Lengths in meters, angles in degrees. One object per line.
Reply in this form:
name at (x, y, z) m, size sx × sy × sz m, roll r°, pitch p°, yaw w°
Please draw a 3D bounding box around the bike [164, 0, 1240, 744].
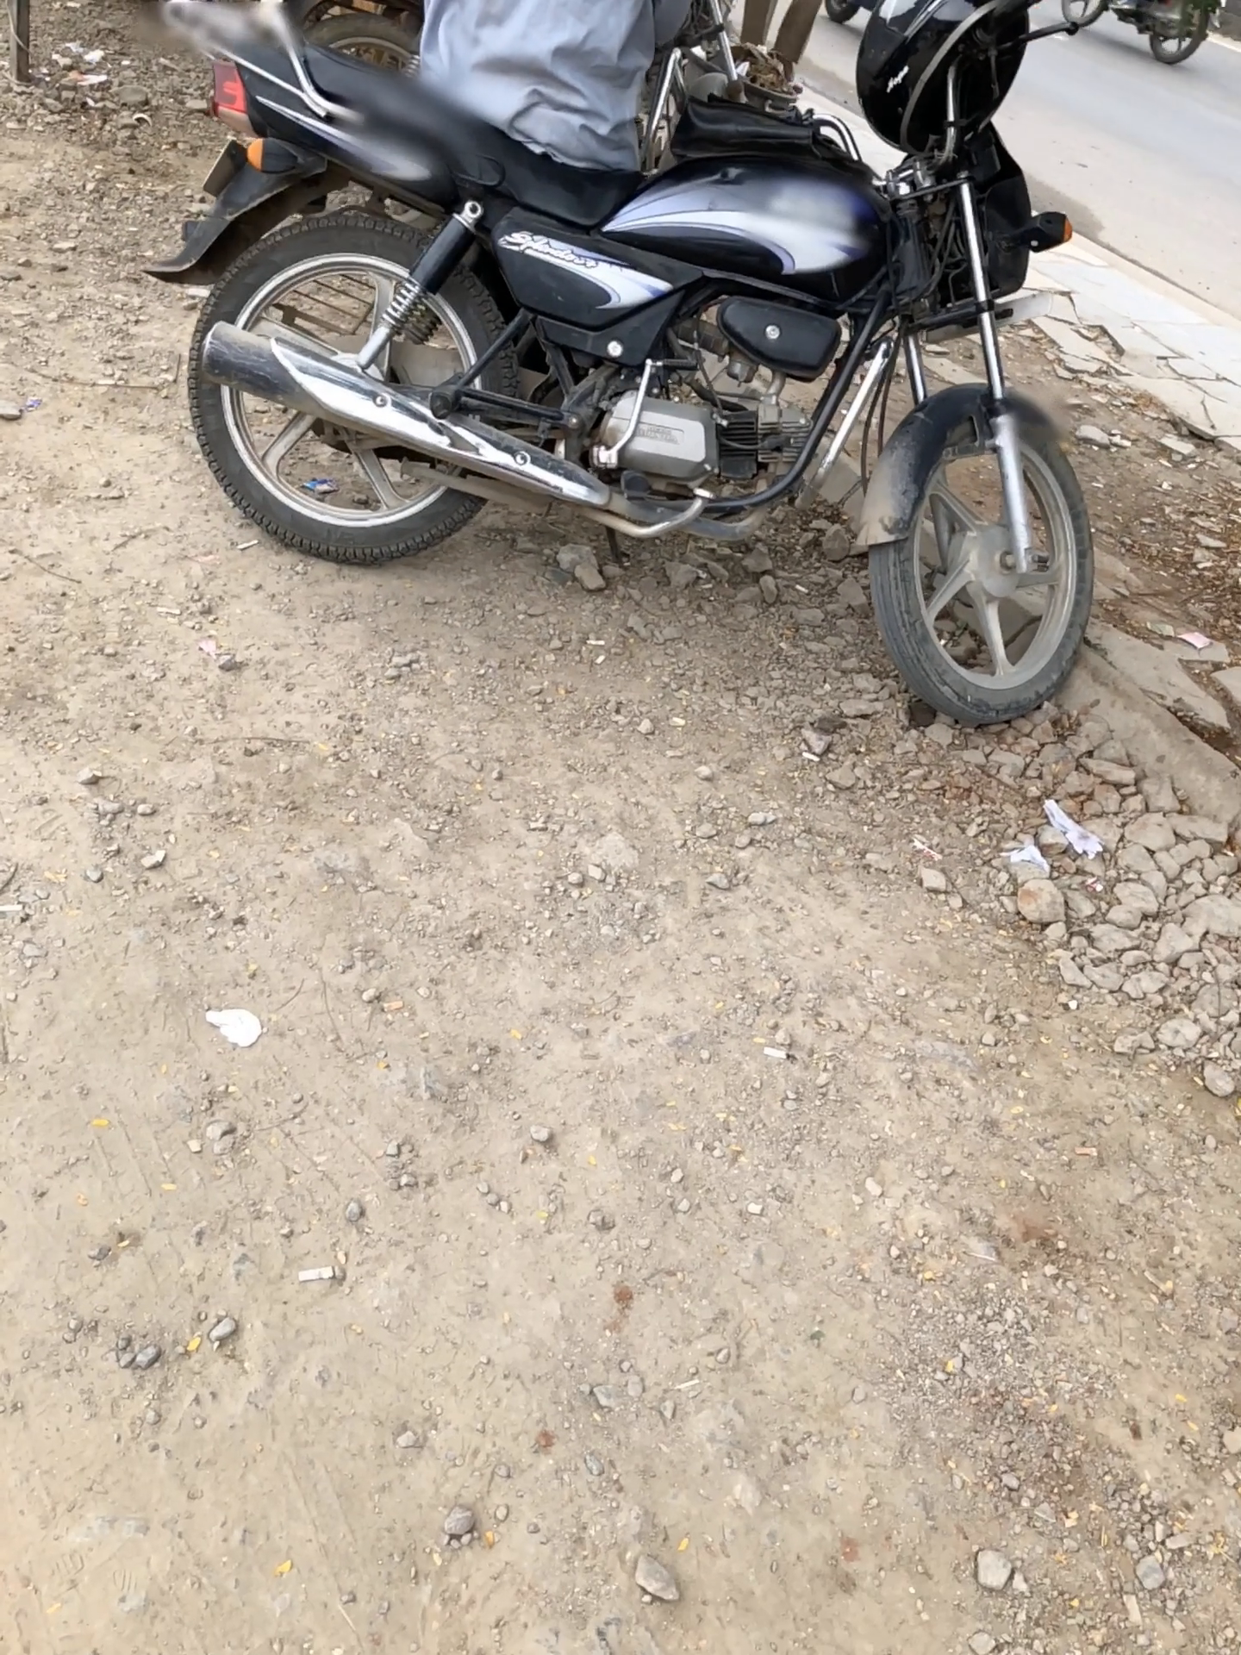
bike at (0.124, -0.963, 2.415) m, size 1.594 × 1.170 × 0.744 m, roll 10°, pitch 37°, yaw -6°
